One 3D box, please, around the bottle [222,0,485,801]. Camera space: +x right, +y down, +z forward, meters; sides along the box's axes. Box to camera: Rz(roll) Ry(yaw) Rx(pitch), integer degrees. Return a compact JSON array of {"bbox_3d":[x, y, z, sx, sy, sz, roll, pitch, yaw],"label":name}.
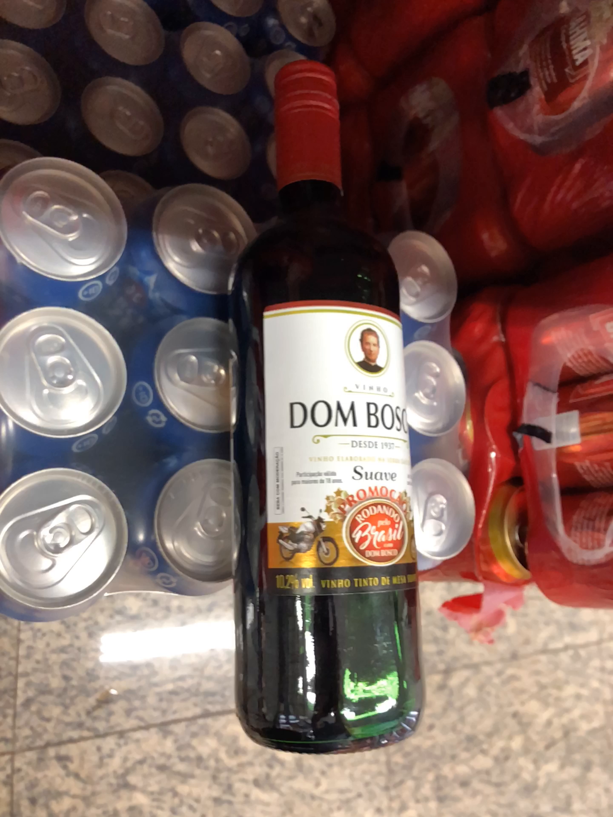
[{"bbox_3d":[0.016,-0.011,0.301,0.080,0.070,0.300,5,79,-31],"label":"bottle"}]
